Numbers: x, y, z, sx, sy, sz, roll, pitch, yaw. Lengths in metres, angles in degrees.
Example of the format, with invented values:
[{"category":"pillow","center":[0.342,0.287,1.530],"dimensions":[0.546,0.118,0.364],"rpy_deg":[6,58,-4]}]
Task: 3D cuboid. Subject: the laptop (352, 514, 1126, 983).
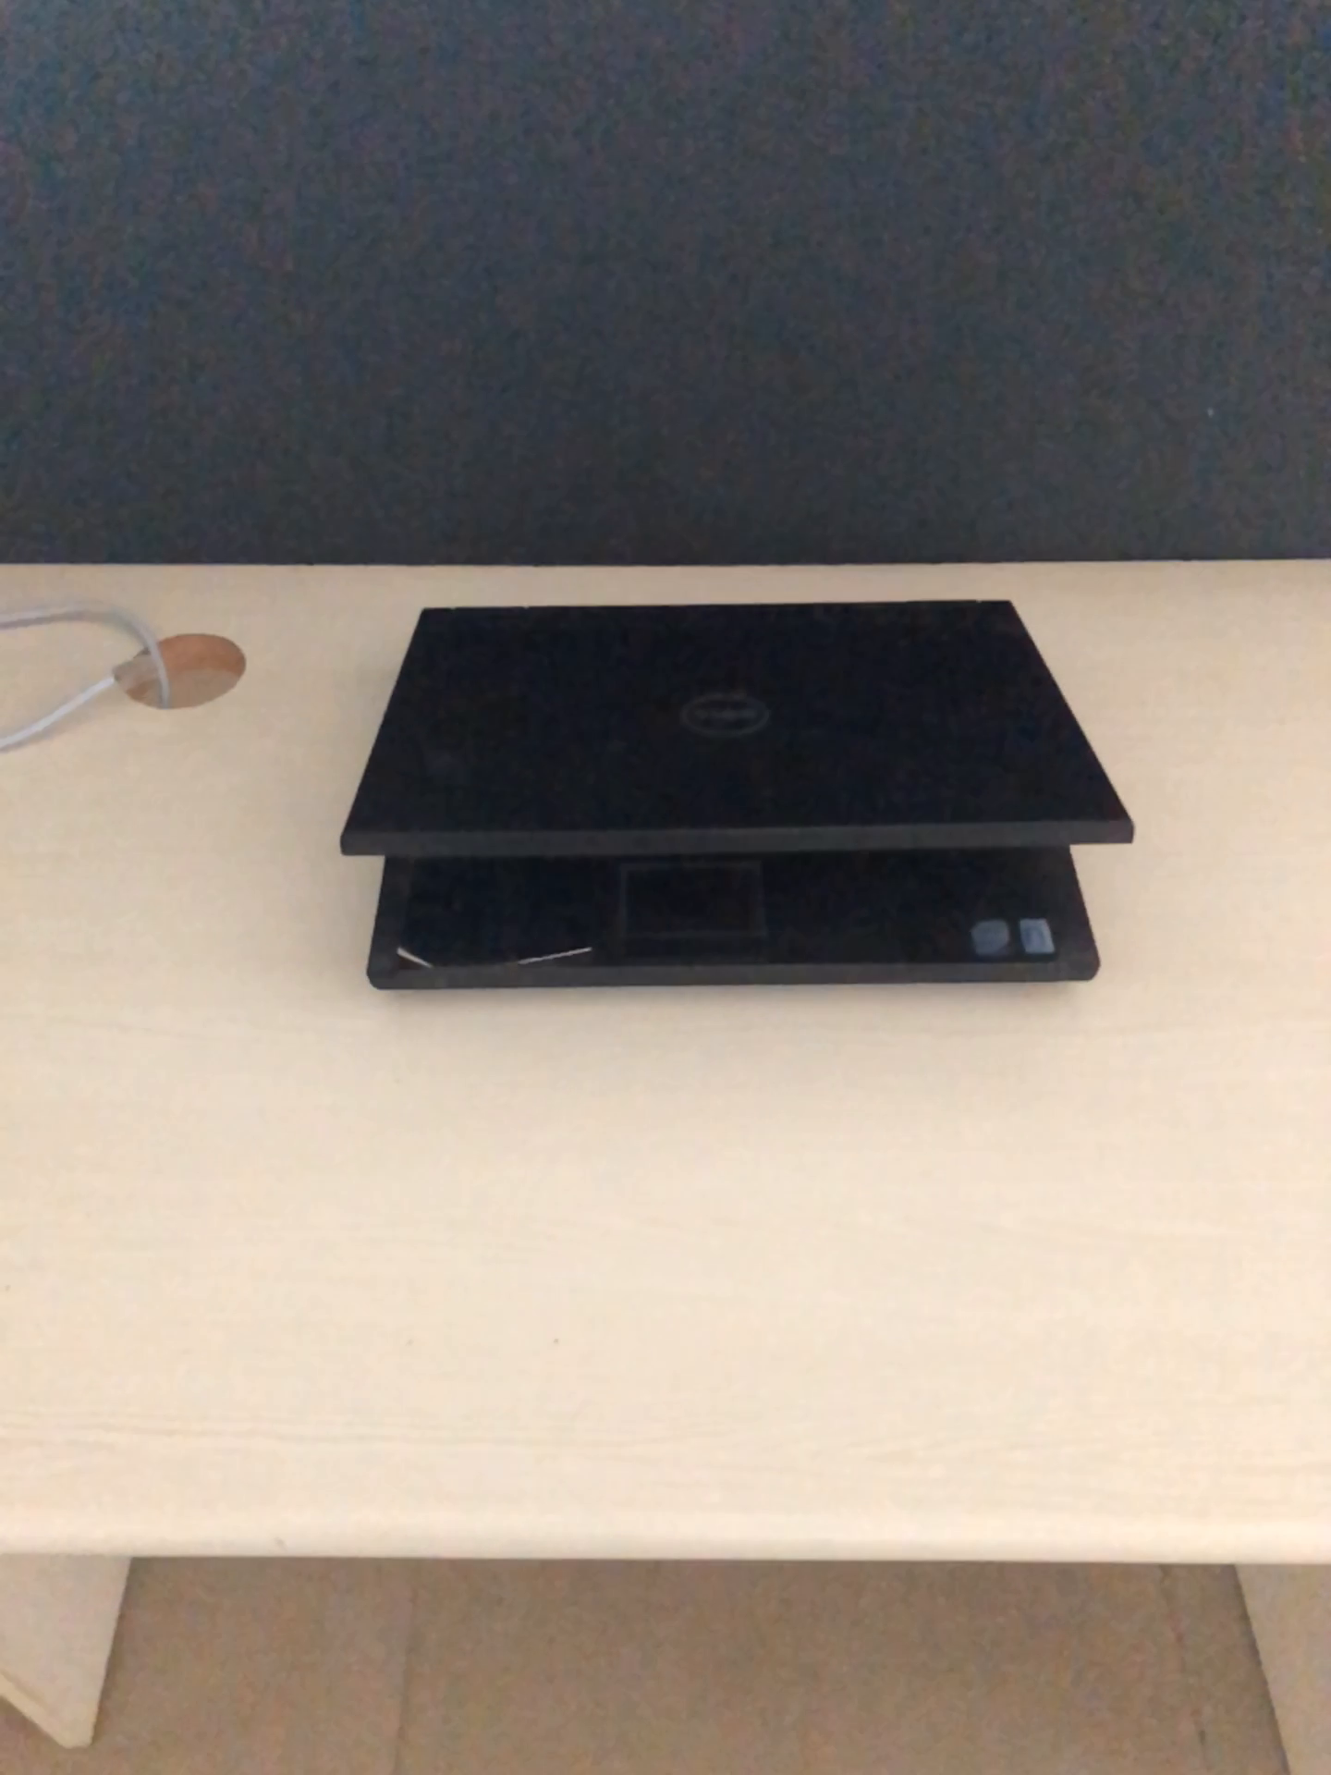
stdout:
[{"category":"laptop","center":[0.029,-0.072,0.673],"dimensions":[0.302,0.064,0.231],"rpy_deg":[-1,49,0]}]
